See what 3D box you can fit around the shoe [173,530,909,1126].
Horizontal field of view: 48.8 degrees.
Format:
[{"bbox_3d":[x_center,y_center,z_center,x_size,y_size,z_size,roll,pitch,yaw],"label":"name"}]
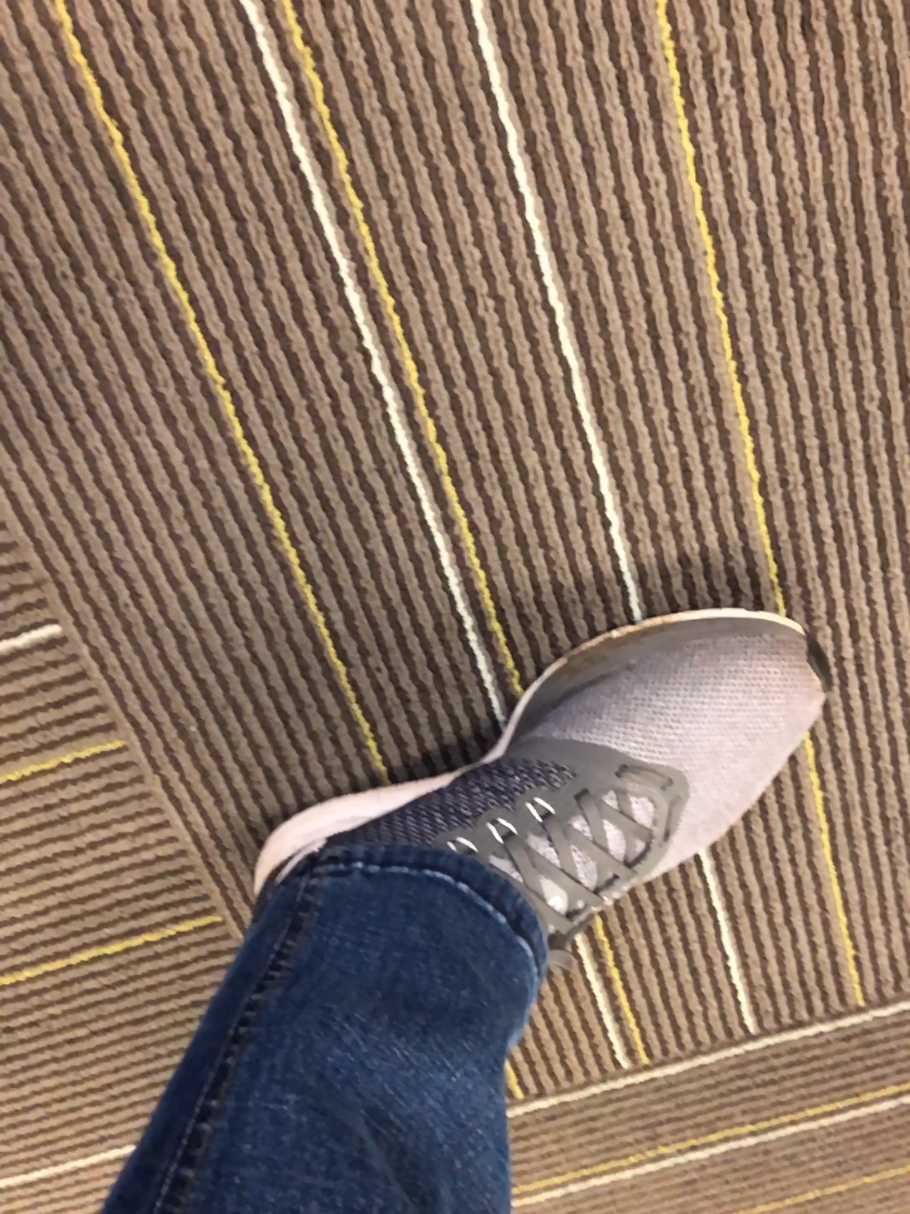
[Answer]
[{"bbox_3d":[0.041,0.098,0.447,0.300,0.060,0.120,-30,113,2],"label":"shoe"}]
